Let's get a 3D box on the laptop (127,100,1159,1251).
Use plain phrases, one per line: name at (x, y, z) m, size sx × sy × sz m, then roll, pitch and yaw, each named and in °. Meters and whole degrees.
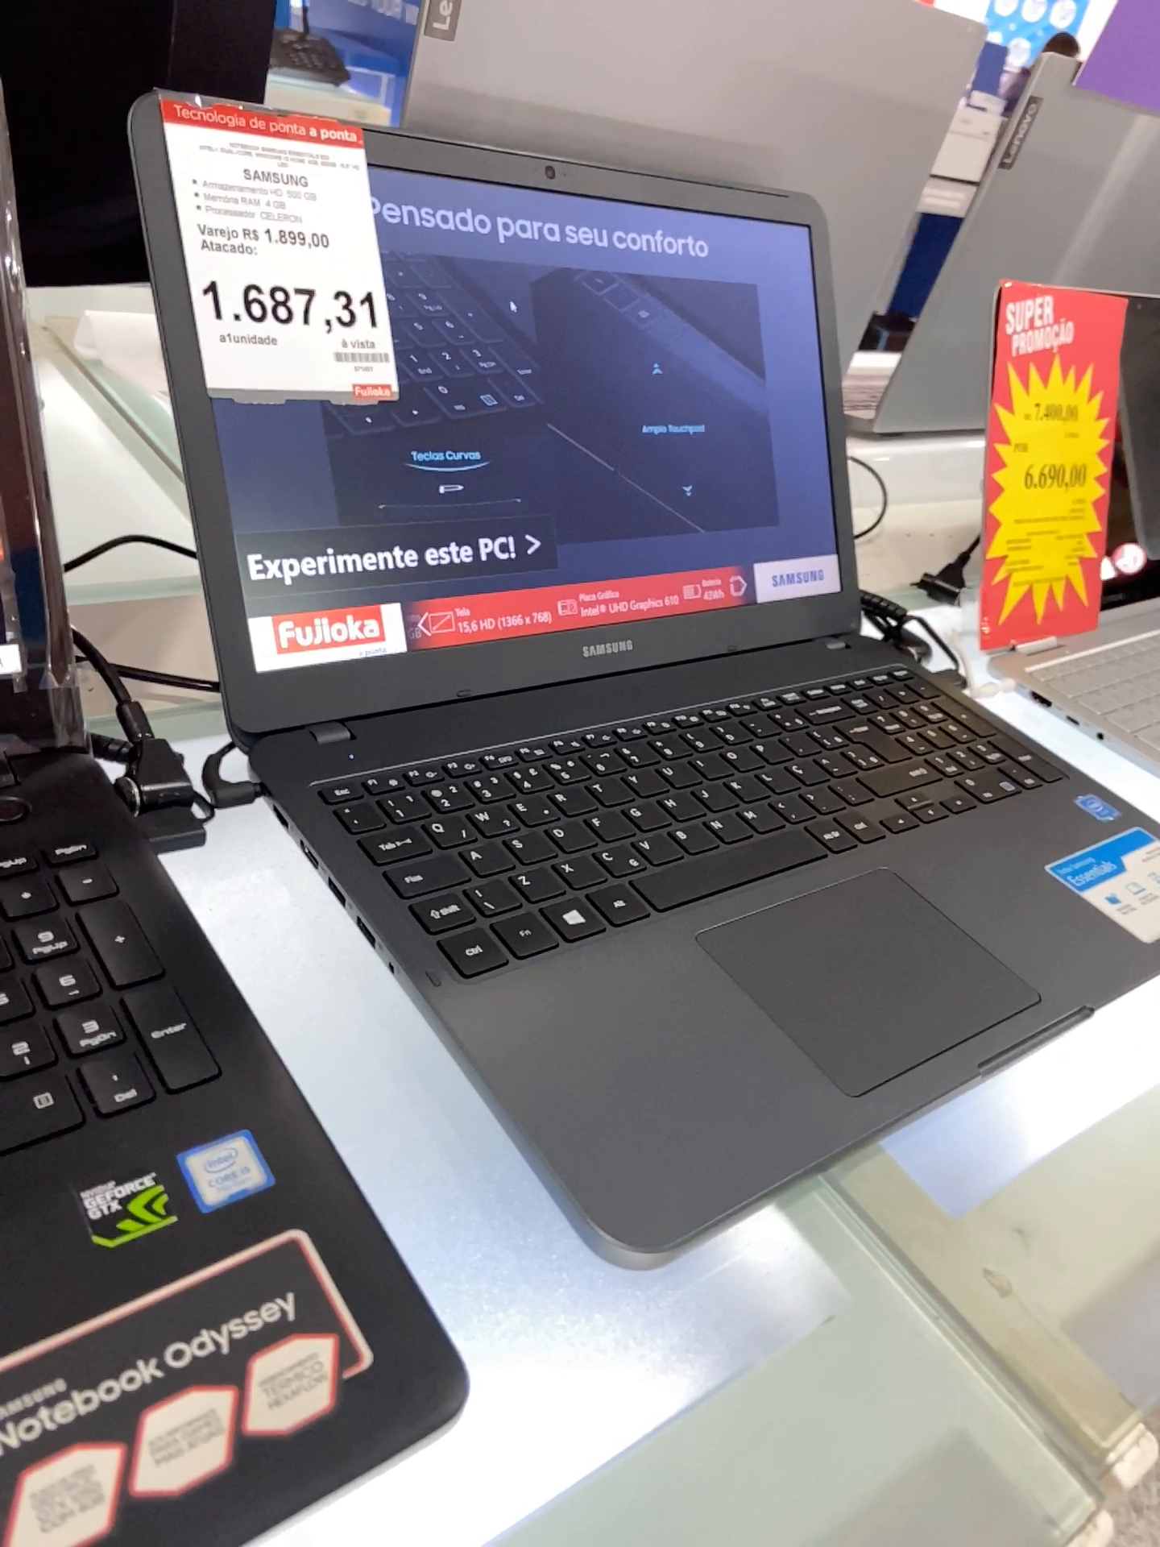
laptop at (0.070, -0.093, 0.475) m, size 0.367 × 0.196 × 0.371 m, roll -13°, pitch 41°, yaw -36°
